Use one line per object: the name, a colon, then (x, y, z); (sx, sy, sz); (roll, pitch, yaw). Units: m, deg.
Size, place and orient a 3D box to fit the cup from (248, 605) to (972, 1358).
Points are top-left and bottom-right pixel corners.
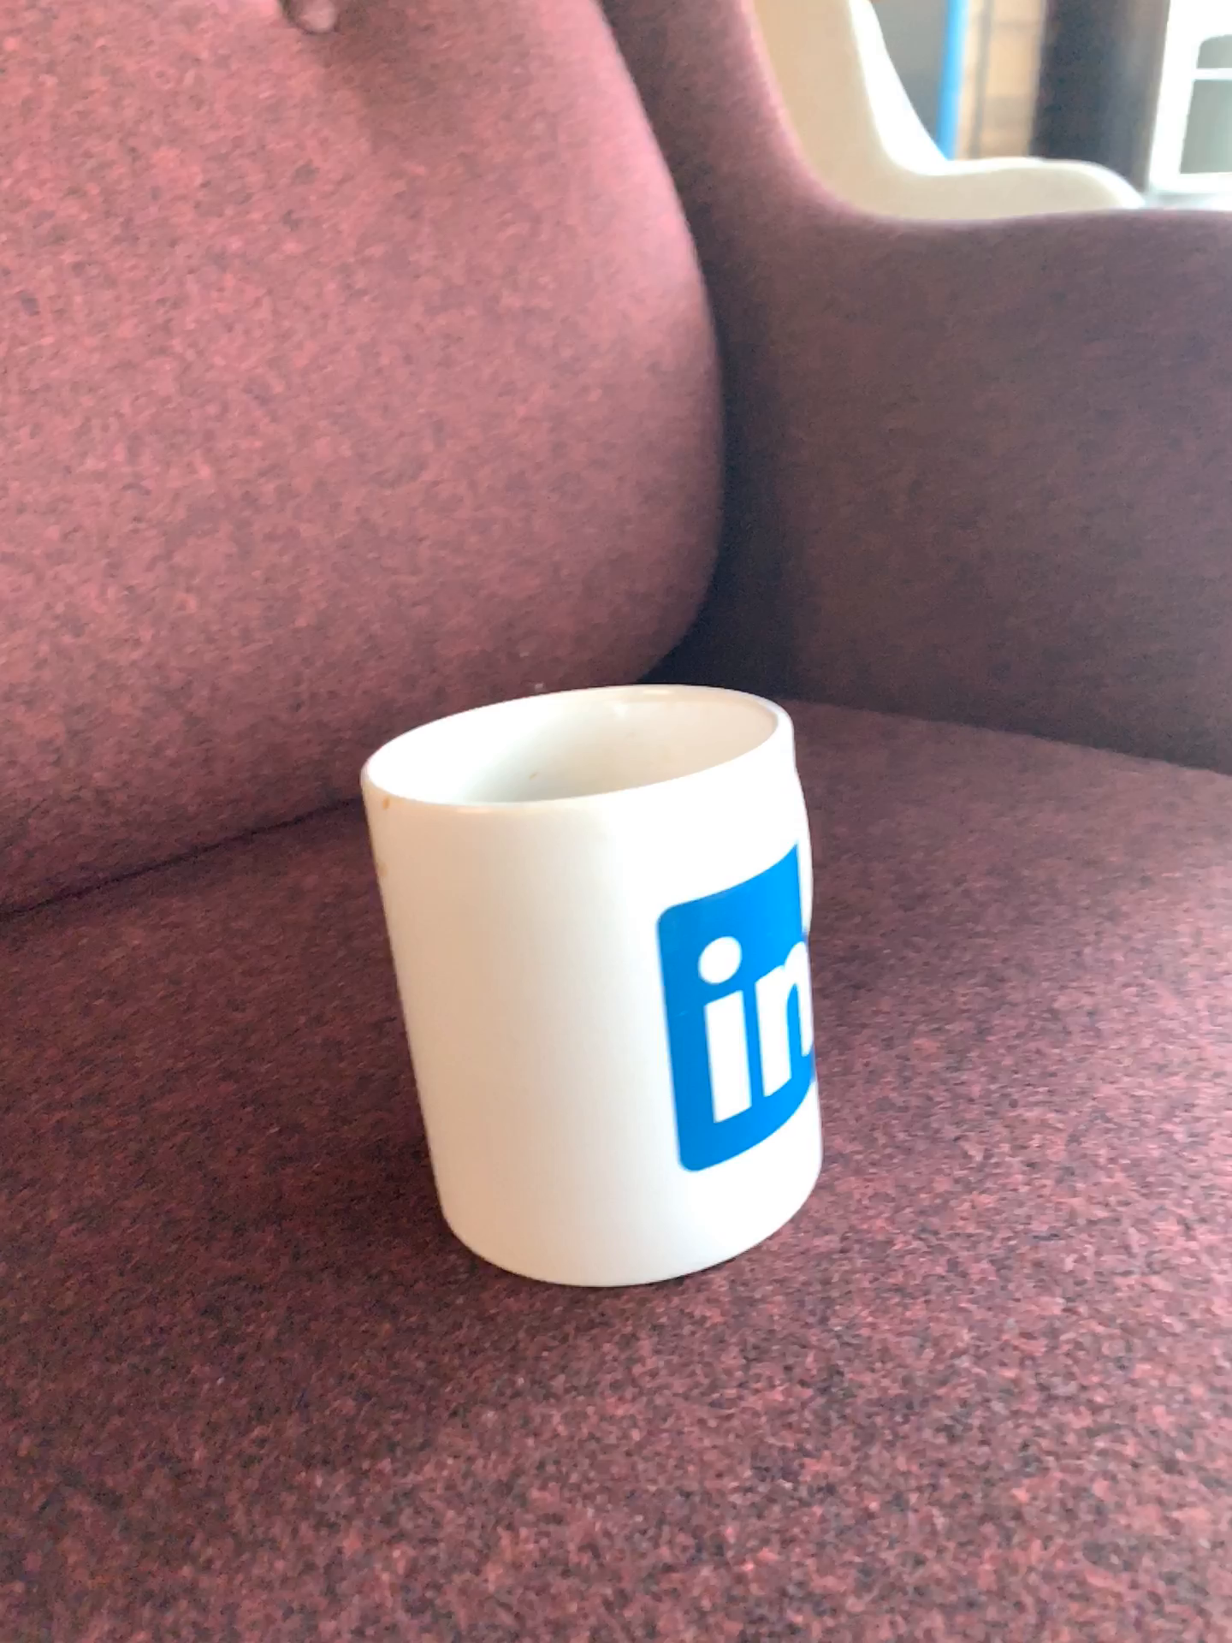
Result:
cup: (0.006, 0.017, 0.241); (0.074, 0.089, 0.105); (9, 27, 40)
